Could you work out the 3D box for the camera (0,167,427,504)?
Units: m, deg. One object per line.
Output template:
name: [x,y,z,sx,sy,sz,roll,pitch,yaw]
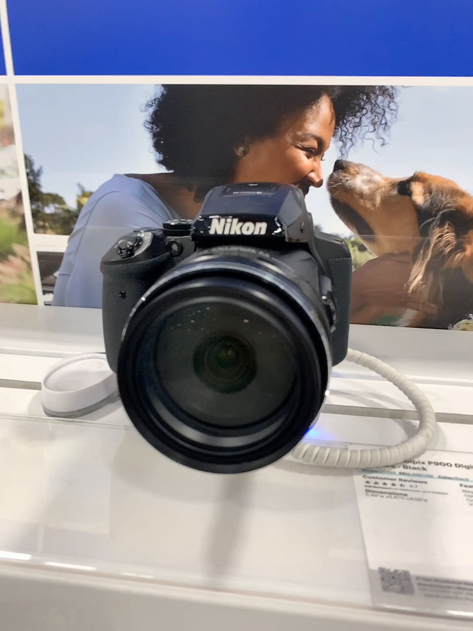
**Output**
camera: [-0.009,-0.011,0.229,0.140,0.100,0.153,5,15,6]
